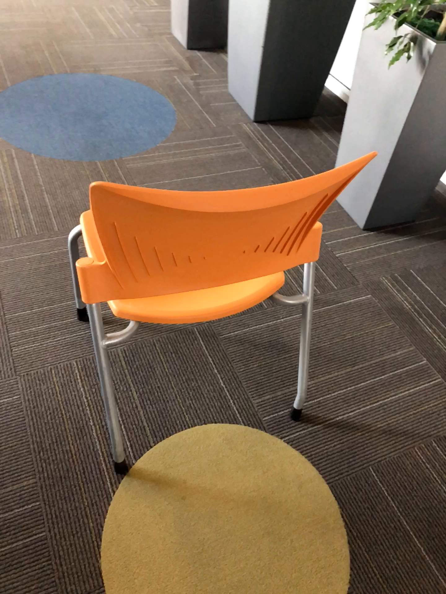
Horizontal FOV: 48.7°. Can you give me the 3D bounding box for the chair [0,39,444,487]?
[{"bbox_3d":[-0.082,-0.095,1.166,0.640,0.747,0.612,-12,49,-20],"label":"chair"}]
